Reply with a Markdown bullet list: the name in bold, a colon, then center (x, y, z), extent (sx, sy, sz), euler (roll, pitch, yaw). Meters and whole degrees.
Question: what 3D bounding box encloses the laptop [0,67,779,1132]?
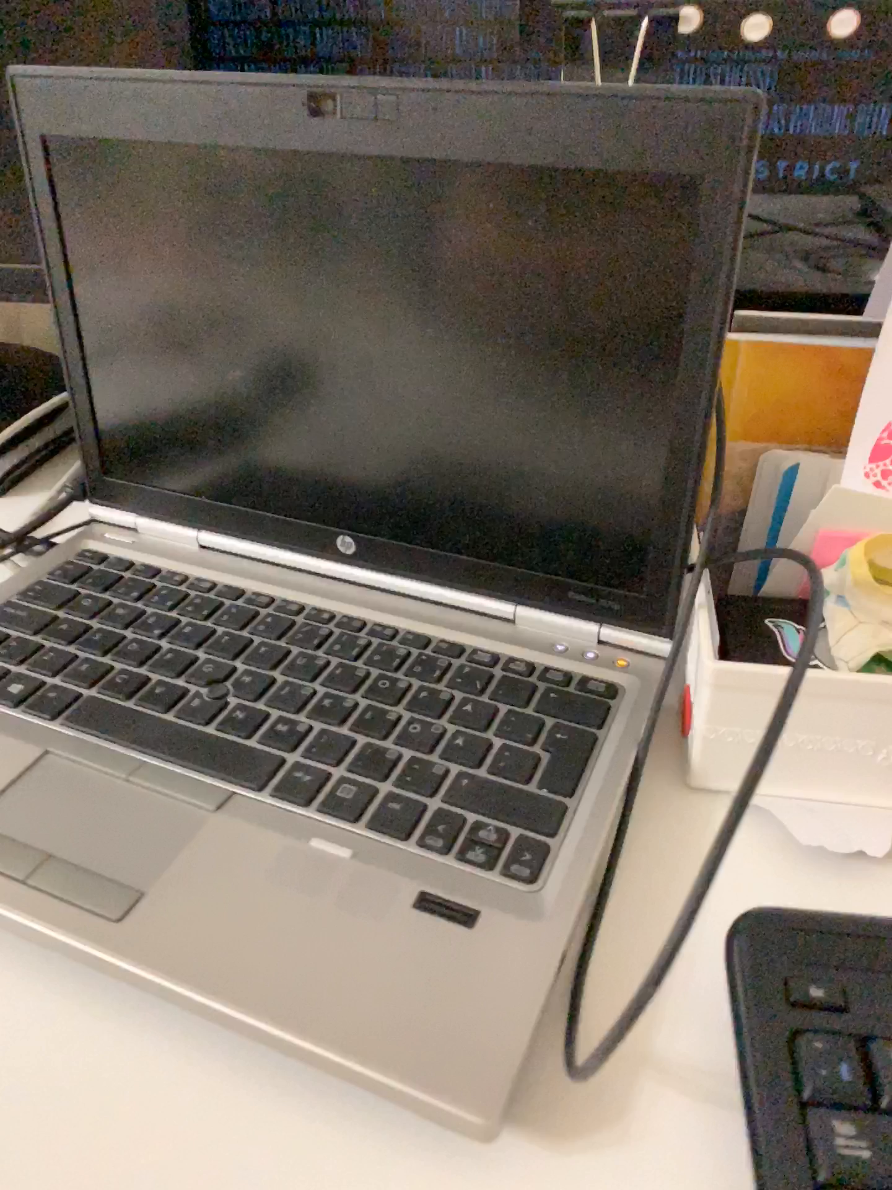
- **laptop**: center (-0.078, -0.047, 0.310), extent (0.303, 0.205, 0.225), euler (13, 36, 20)
